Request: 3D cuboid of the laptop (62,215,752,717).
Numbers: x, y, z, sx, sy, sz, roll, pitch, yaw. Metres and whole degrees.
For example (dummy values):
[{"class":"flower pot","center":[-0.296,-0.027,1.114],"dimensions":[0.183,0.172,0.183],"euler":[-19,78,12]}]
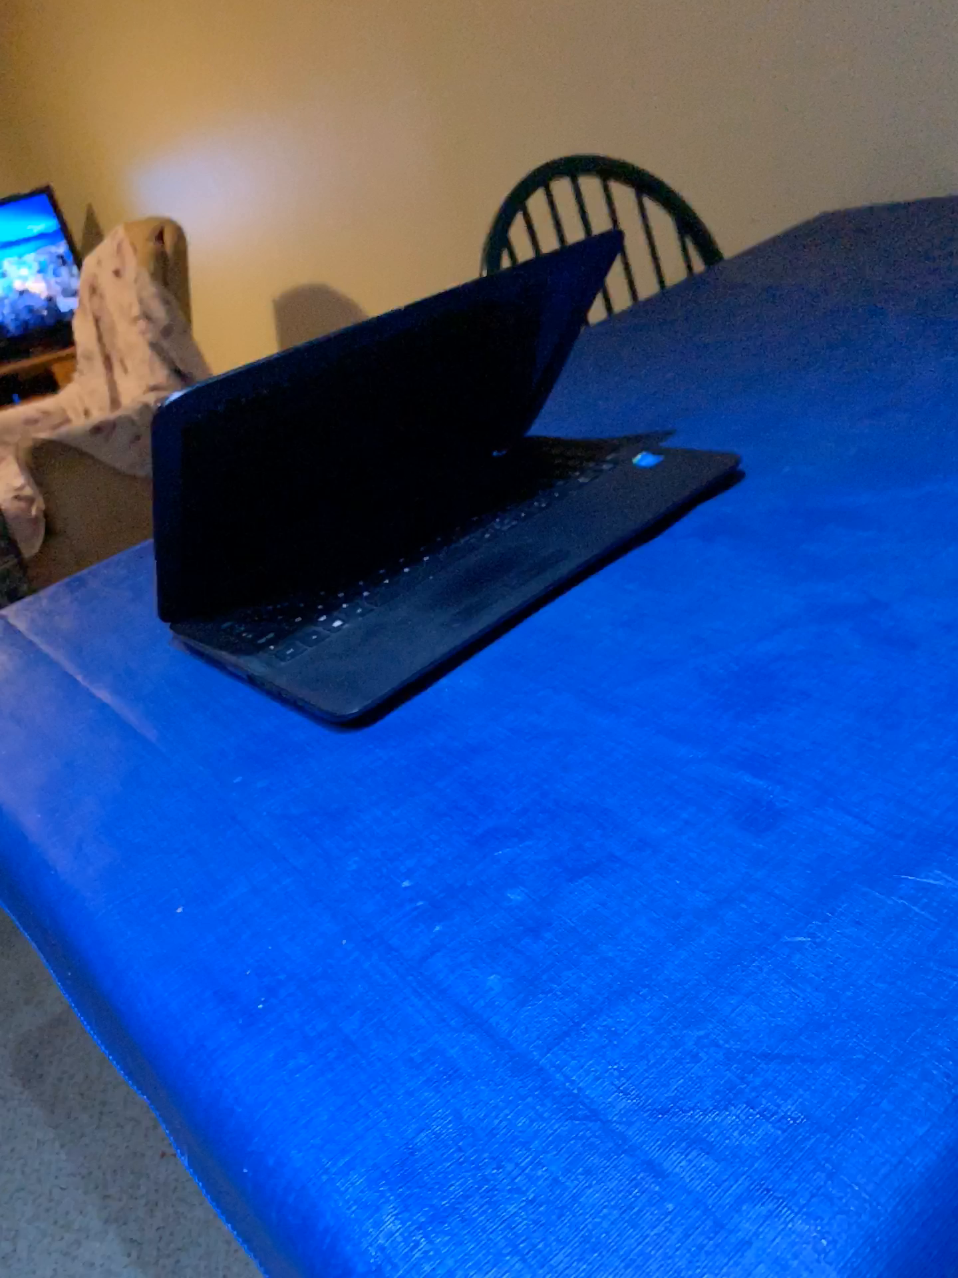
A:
[{"class":"laptop","center":[-0.040,-0.145,0.691],"dimensions":[0.371,0.167,0.253],"euler":[-33,31,-29]}]
